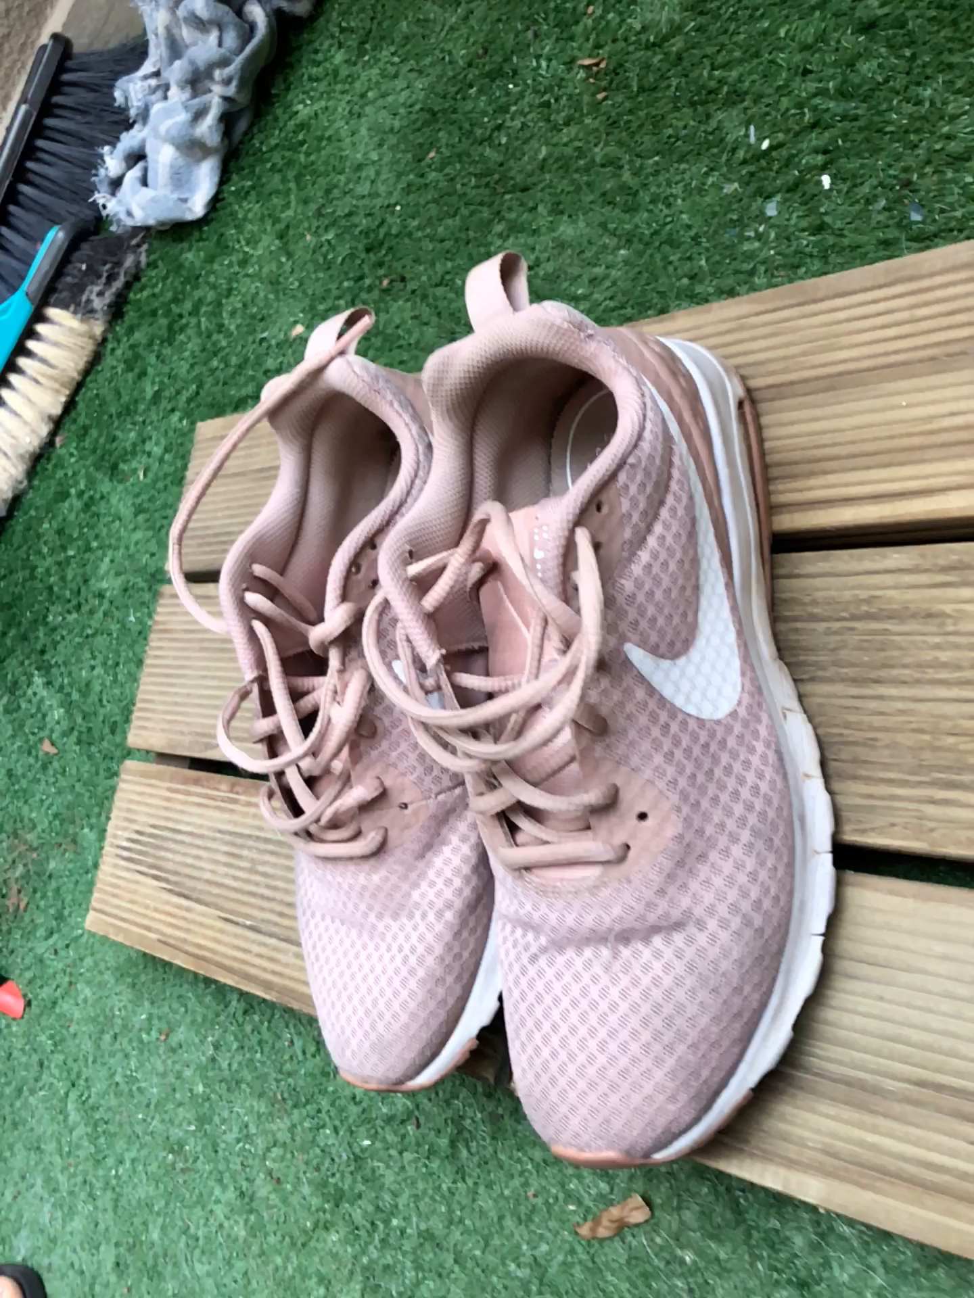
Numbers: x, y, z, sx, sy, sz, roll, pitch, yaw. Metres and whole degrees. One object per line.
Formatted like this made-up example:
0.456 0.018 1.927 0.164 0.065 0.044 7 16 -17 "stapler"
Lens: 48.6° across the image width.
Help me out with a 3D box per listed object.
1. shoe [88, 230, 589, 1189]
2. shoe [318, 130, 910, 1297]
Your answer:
-0.043 0.018 0.356 0.111 0.089 0.260 -9 71 42 "shoe"
0.035 0.018 0.294 0.111 0.089 0.260 -11 70 41 "shoe"
